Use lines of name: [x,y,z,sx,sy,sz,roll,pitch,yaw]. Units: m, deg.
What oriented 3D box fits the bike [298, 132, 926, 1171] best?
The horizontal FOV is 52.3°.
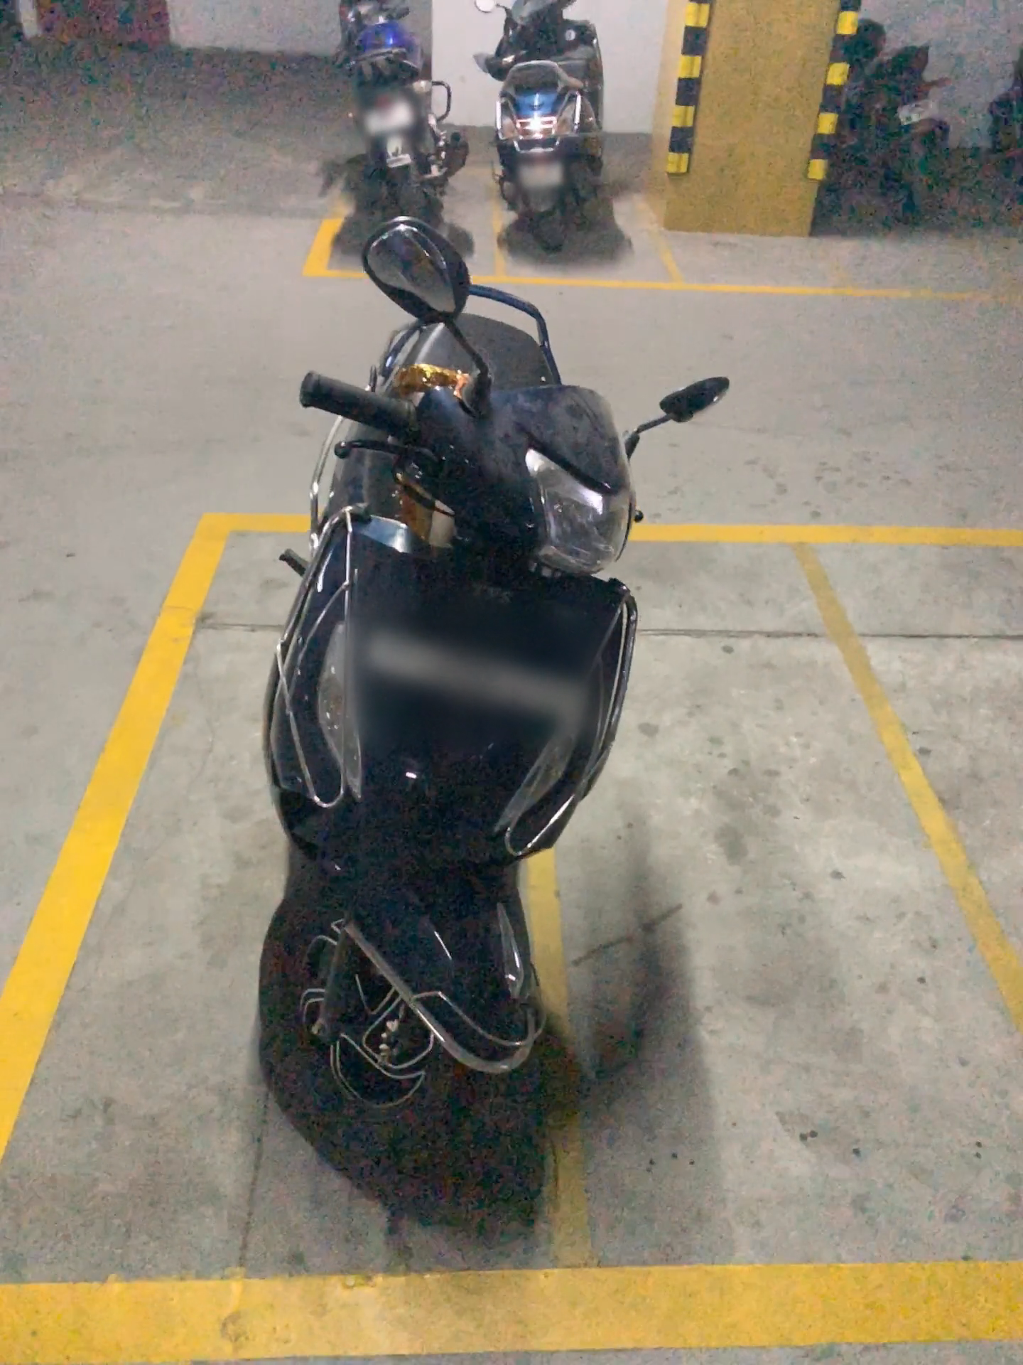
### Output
bike: [0.003,-0.216,2.009,0.664,1.029,1.701,-2,42,-7]
